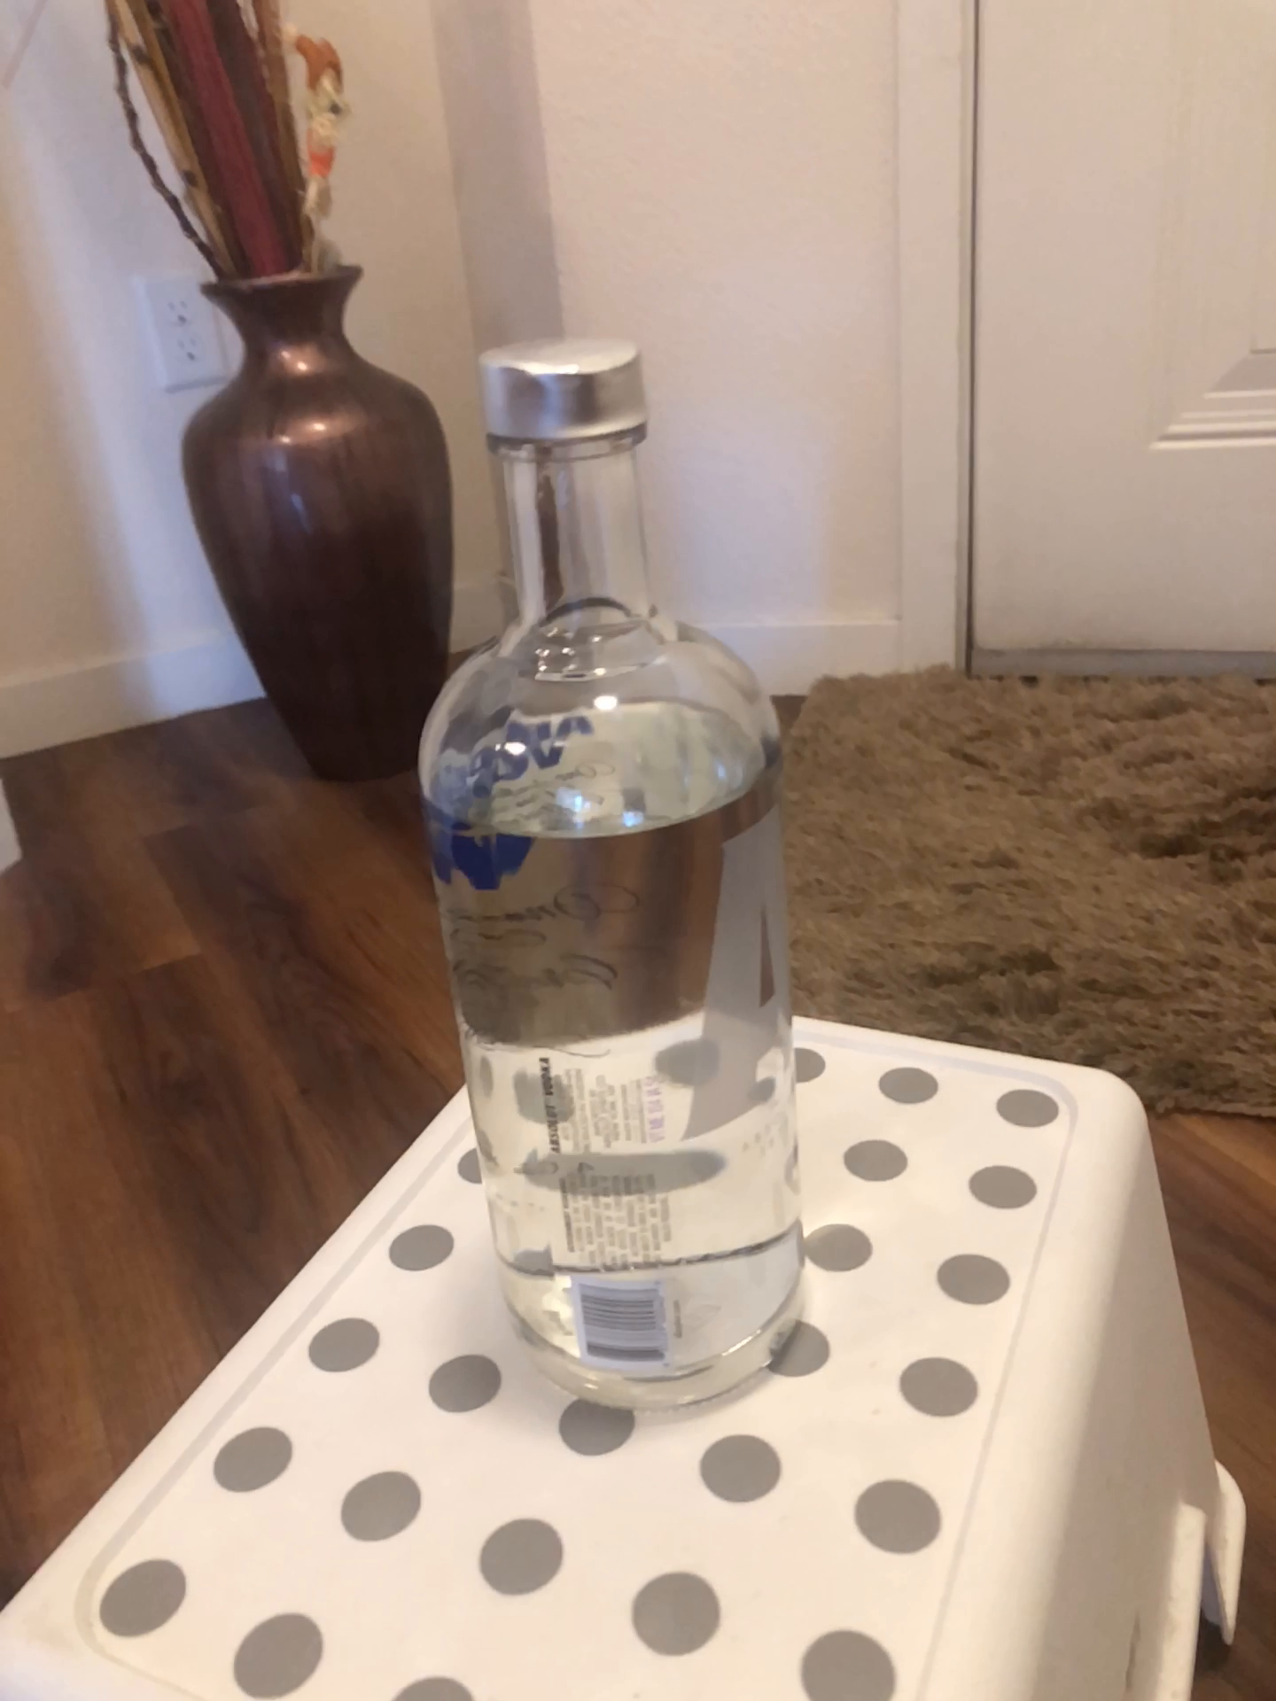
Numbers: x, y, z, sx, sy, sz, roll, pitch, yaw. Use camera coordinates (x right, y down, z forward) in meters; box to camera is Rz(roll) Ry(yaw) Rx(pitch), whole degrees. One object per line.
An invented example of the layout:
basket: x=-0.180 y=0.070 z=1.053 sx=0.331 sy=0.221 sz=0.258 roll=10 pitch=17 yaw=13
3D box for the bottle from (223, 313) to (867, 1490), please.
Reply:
bottle: x=-0.012 y=0.012 z=0.360 sx=0.090 sy=0.269 sz=0.100 roll=-26 pitch=32 yaw=-35
